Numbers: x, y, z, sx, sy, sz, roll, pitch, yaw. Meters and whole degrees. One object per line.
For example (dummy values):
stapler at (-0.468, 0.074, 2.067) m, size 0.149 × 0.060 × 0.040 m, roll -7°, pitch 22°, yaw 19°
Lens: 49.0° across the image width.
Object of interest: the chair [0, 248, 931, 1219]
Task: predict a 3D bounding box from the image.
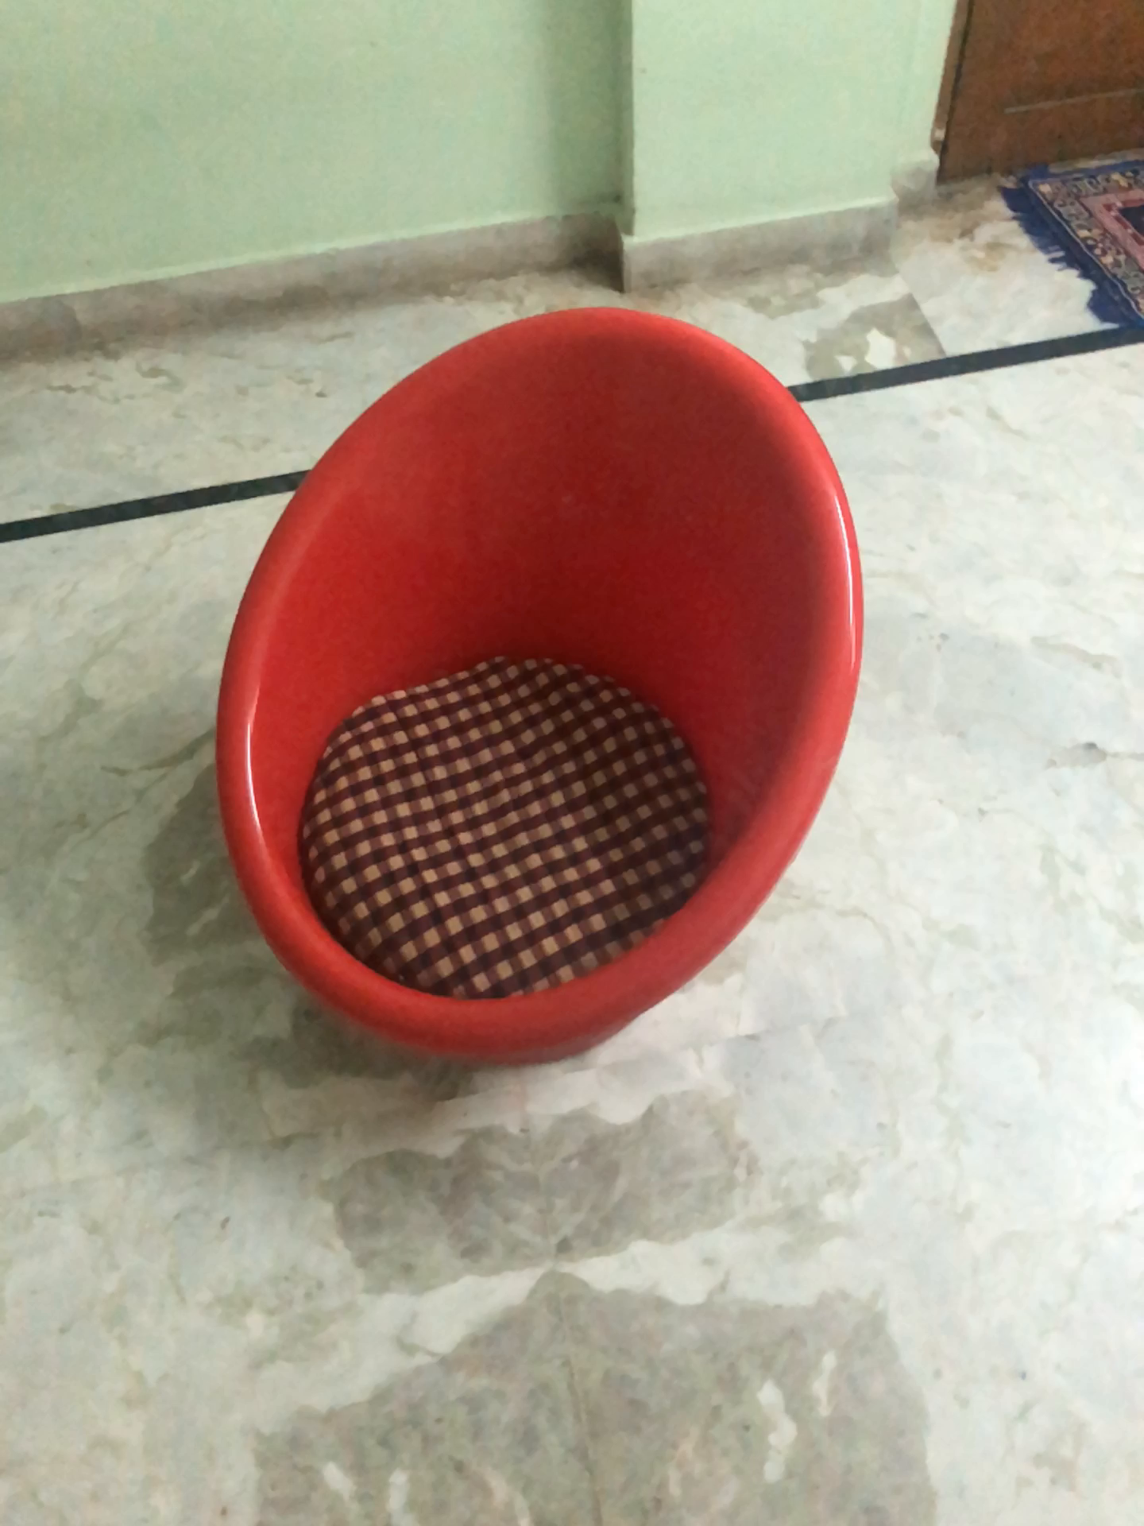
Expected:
chair at (-0.059, -0.058, 1.337) m, size 0.621 × 0.507 × 0.743 m, roll 17°, pitch 57°, yaw 15°
